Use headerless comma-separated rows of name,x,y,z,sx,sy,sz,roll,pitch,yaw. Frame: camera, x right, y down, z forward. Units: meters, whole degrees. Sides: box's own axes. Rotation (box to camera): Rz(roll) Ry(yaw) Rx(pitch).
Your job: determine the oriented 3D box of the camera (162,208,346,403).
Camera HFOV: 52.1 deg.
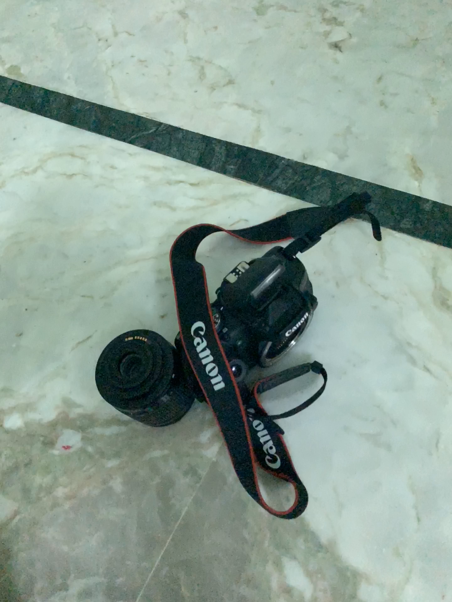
camera,0.027,0.005,0.376,0.112,0.078,0.082,-44,63,-11
